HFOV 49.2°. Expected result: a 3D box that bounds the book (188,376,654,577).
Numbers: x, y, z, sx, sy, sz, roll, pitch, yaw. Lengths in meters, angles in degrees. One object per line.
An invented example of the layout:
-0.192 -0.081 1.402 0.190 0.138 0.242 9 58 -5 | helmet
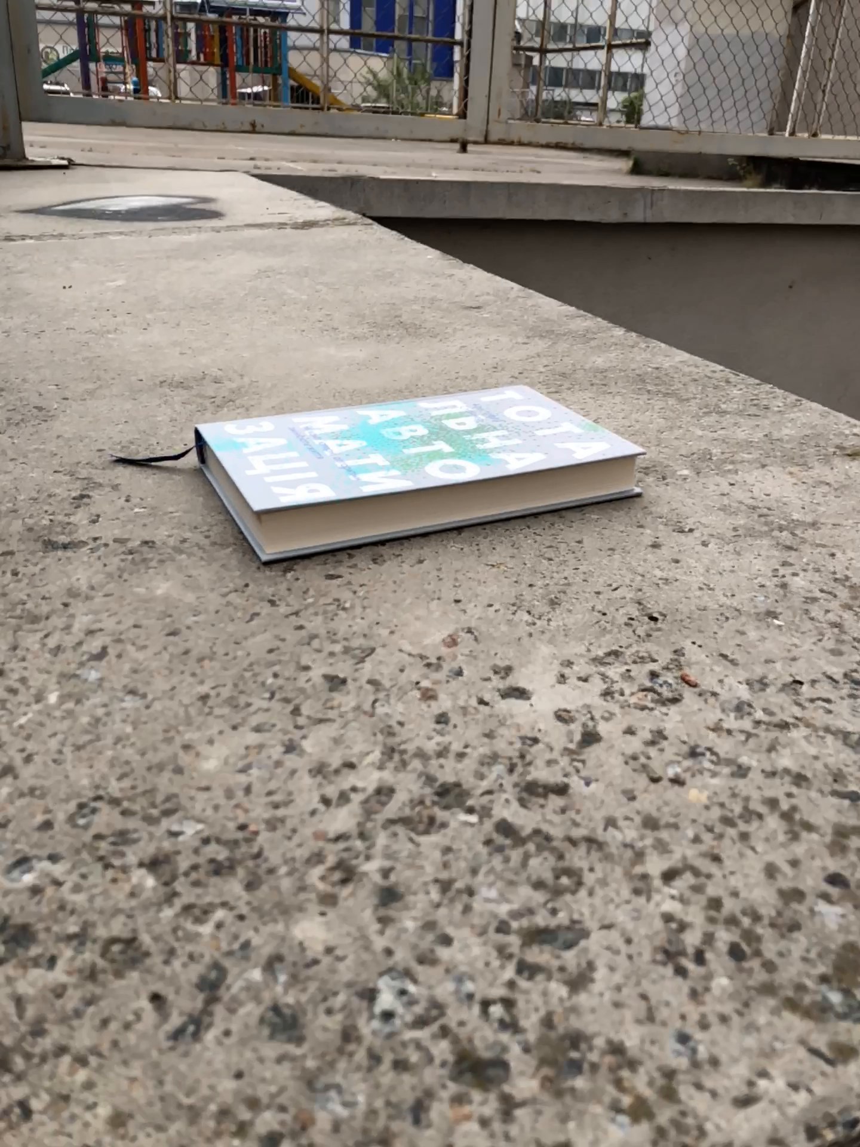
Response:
-0.010 -0.065 0.534 0.220 0.030 0.151 -12 30 -21 | book
